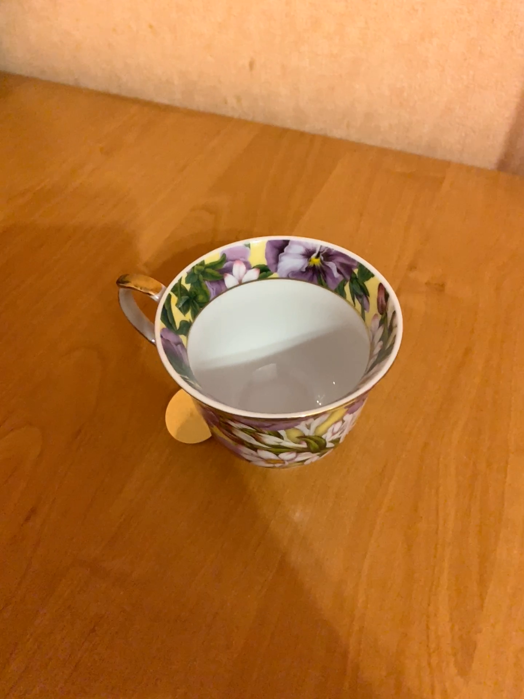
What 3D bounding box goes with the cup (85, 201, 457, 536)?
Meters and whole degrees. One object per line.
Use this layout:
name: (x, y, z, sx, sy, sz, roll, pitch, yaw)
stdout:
cup: (0.006, 0.004, 0.219, 0.109, 0.069, 0.077, 21, 54, 19)
